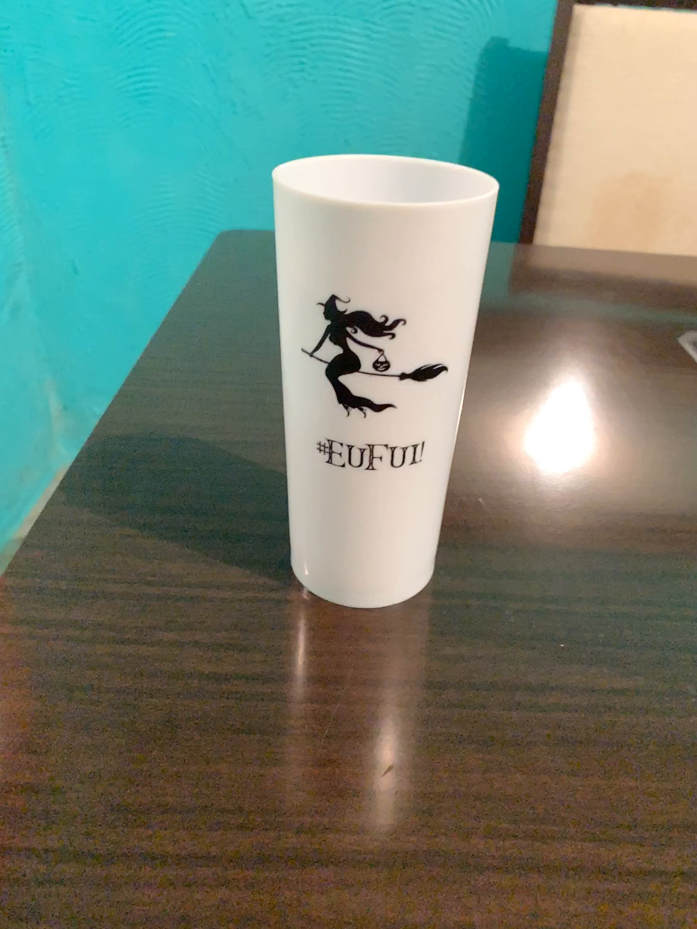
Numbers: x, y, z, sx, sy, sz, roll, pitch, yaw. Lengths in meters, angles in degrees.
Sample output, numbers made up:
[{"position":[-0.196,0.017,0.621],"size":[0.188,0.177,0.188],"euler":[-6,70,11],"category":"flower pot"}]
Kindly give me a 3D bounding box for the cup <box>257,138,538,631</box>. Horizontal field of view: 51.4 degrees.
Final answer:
[{"position":[0.010,-0.024,0.250],"size":[0.070,0.149,0.070],"euler":[2,33,-2],"category":"cup"}]
